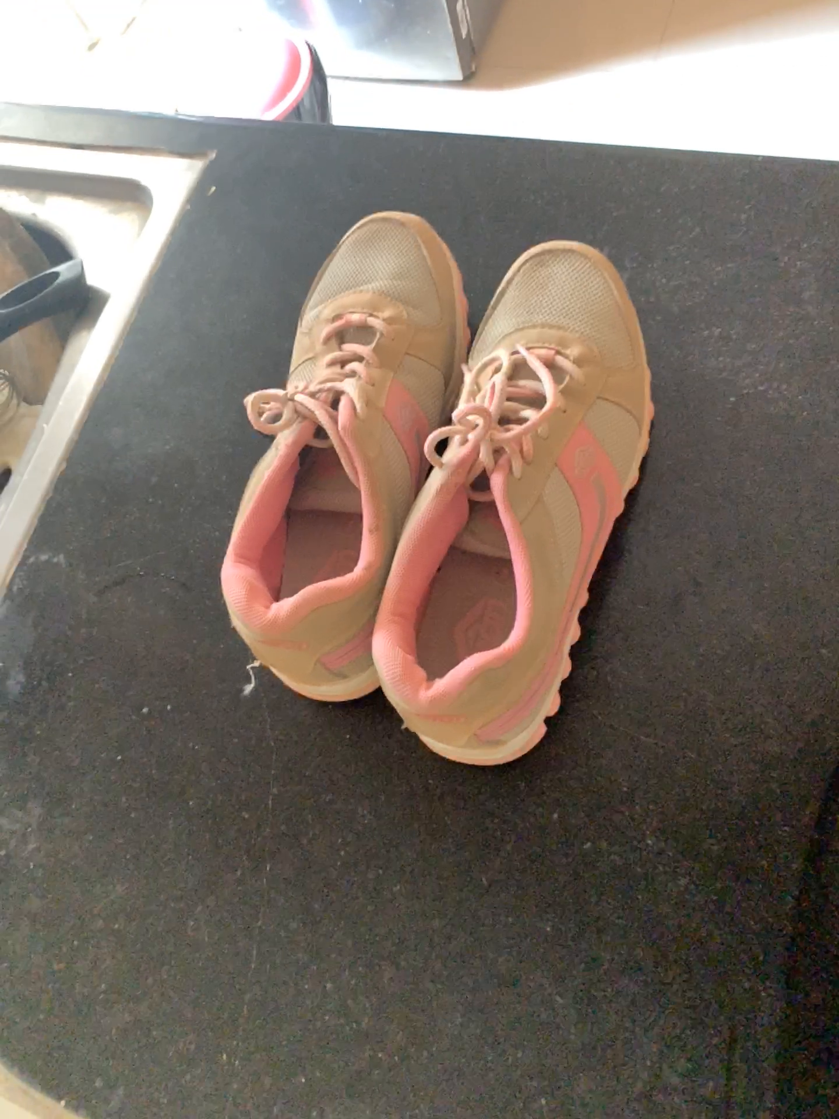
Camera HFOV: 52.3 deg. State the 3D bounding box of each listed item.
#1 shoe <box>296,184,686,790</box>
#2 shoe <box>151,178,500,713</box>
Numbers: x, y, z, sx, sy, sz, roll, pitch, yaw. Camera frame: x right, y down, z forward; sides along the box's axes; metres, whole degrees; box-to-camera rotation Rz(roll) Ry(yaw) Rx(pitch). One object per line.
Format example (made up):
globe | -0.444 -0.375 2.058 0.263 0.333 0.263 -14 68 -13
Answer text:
shoe | 0.045 -0.034 0.385 0.100 0.100 0.241 11 73 19
shoe | -0.032 -0.055 0.416 0.090 0.100 0.231 6 72 17
